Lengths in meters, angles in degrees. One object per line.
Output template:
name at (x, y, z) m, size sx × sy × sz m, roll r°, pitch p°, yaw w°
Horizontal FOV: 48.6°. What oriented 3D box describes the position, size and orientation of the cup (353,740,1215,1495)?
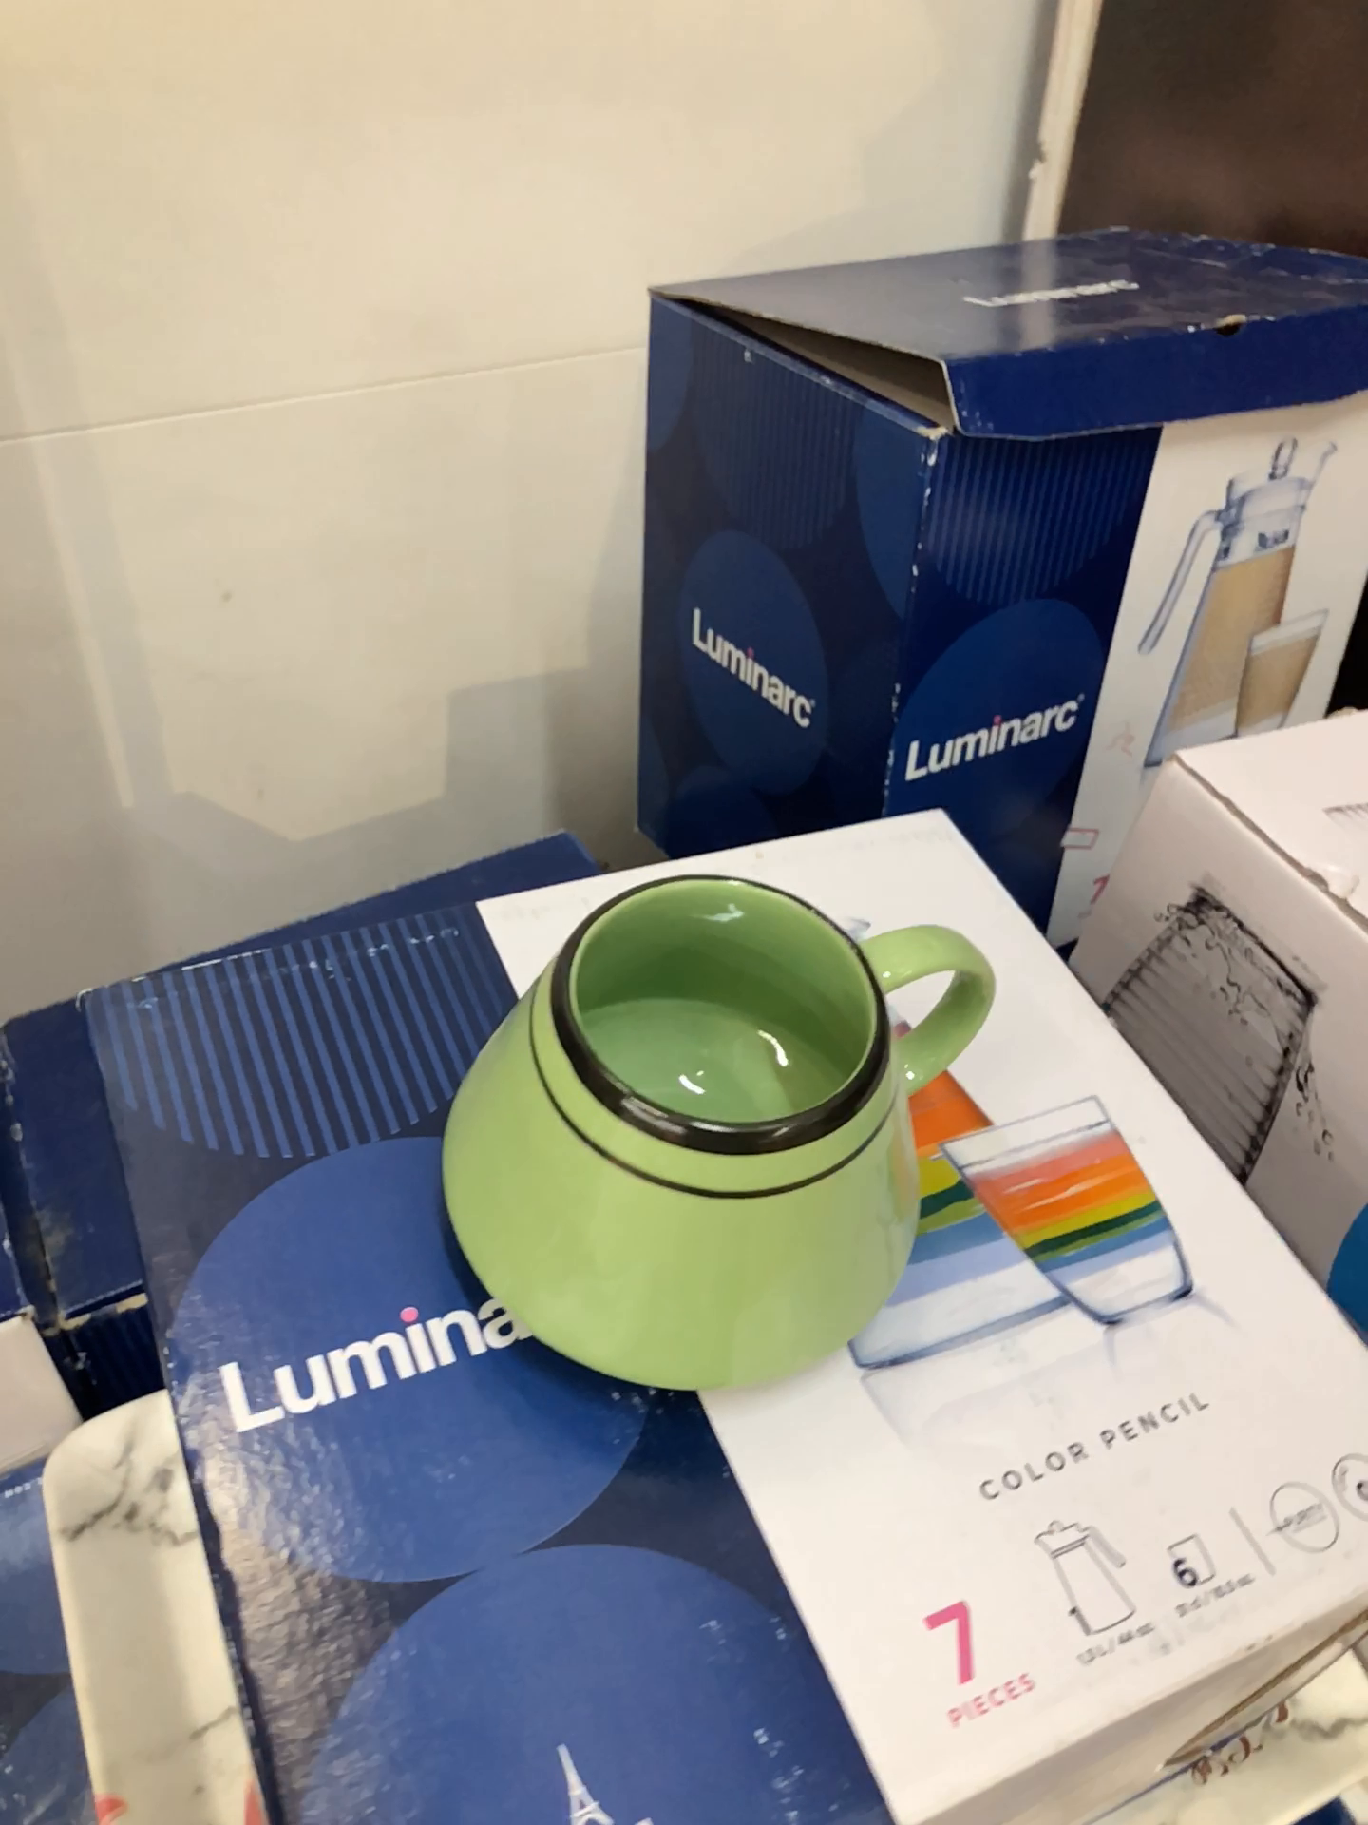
cup at (0.015, 0.035, 0.329) m, size 0.140 × 0.069 × 0.110 m, roll -14°, pitch 43°, yaw -19°
